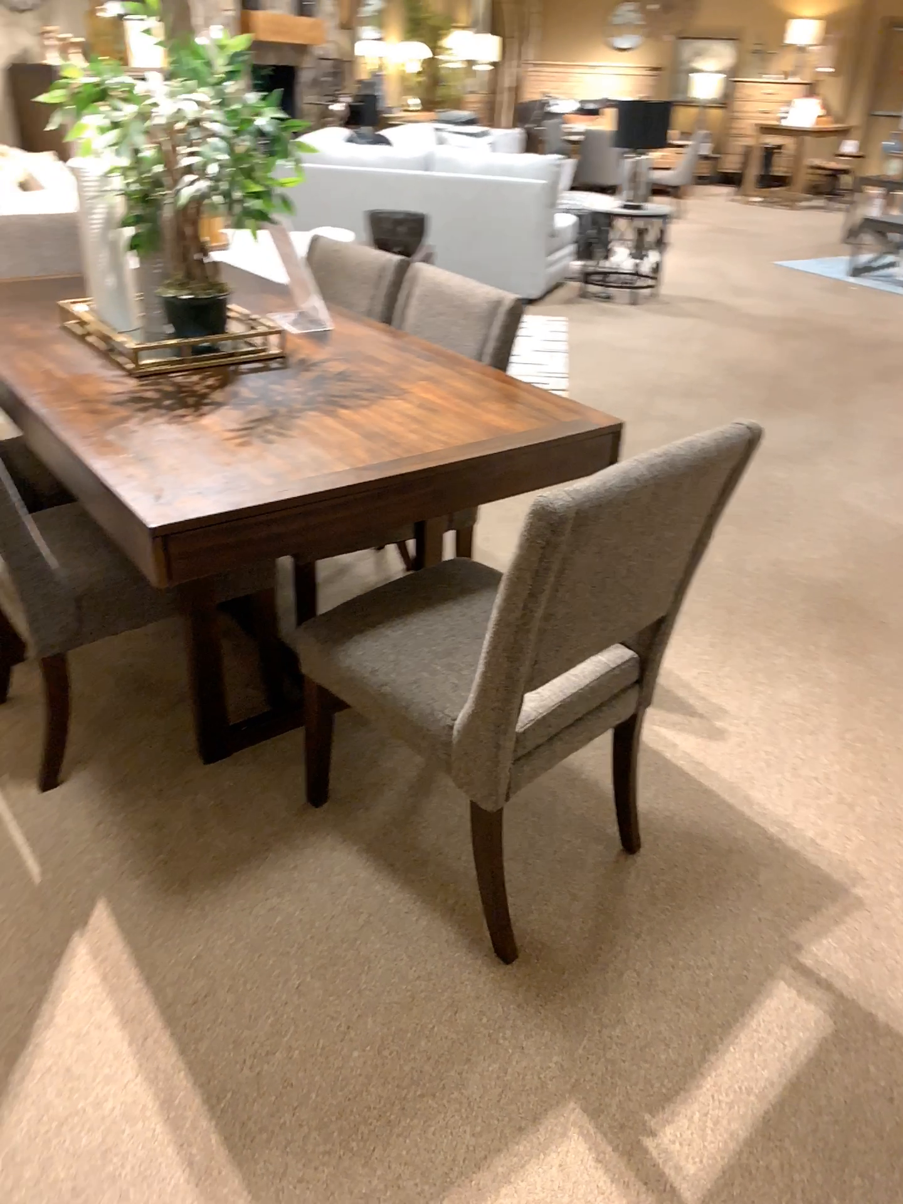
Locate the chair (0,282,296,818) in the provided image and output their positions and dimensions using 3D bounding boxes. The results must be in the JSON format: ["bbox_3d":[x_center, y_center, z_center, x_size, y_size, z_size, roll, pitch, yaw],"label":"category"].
[{"bbox_3d":[-0.737,-0.144,1.906,0.632,0.863,0.481,-19,36,-33],"label":"chair"}]

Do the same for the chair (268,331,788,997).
[{"bbox_3d":[0.085,0.062,1.608,0.480,0.863,0.632,-24,39,-38],"label":"chair"}]
